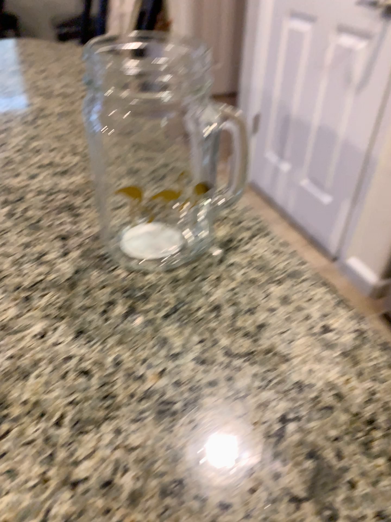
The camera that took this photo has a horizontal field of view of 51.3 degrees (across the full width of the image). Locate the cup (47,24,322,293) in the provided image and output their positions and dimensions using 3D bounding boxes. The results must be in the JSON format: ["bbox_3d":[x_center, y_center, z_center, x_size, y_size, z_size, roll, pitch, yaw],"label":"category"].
[{"bbox_3d":[-0.011,-0.065,0.245,0.120,0.119,0.081,-13,42,-18],"label":"cup"}]
